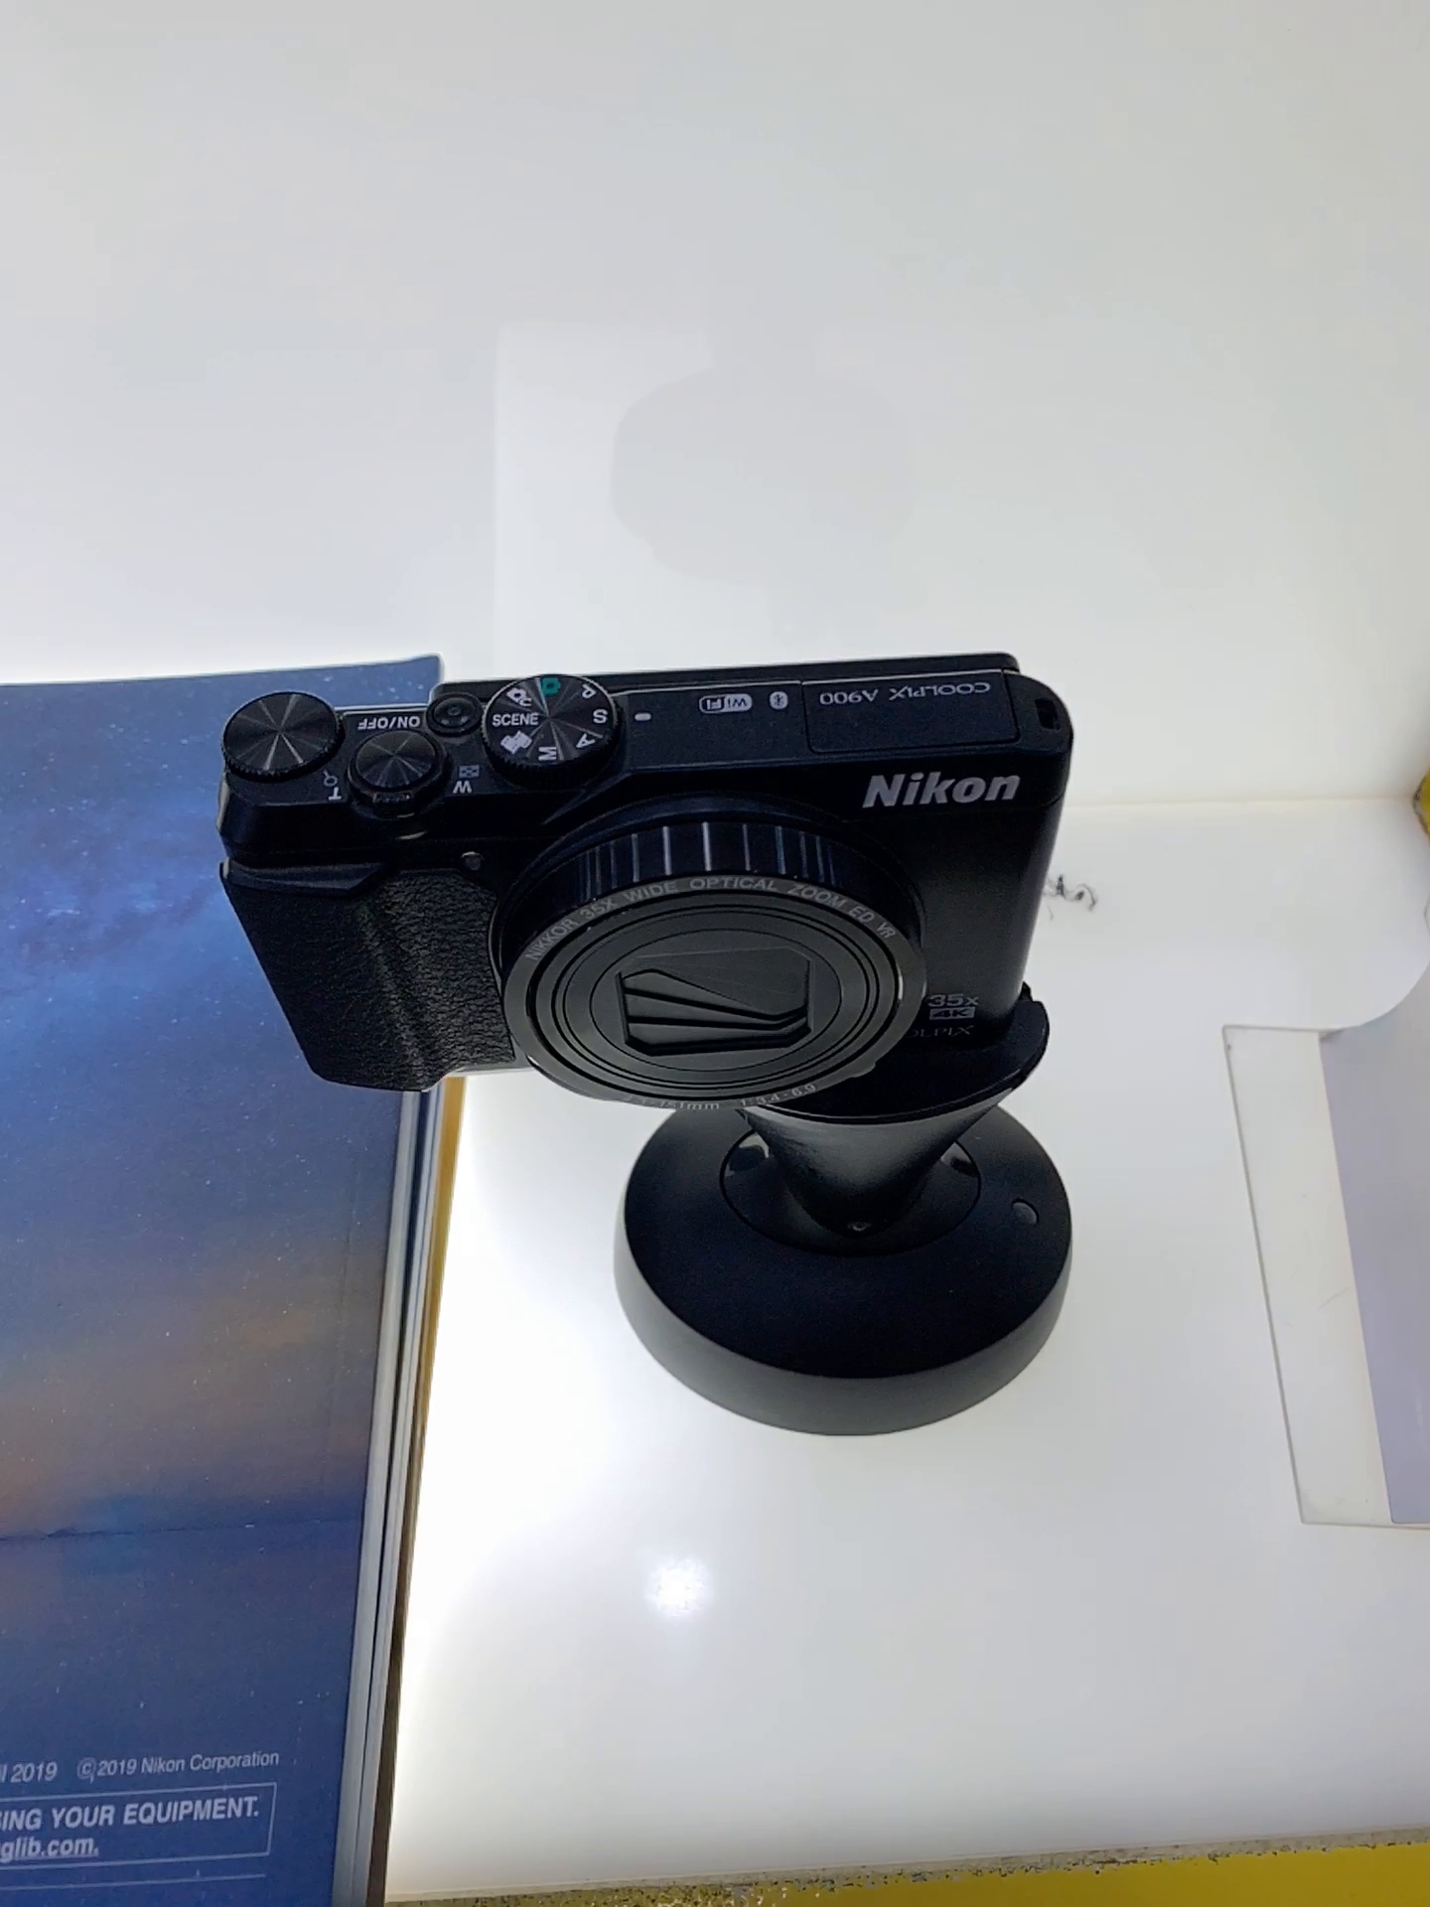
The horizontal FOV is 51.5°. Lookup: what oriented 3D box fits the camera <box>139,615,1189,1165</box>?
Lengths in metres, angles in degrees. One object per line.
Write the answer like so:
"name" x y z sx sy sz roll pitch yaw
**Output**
"camera" -0.007 -0.007 0.205 0.120 0.060 0.040 -4 54 -3
